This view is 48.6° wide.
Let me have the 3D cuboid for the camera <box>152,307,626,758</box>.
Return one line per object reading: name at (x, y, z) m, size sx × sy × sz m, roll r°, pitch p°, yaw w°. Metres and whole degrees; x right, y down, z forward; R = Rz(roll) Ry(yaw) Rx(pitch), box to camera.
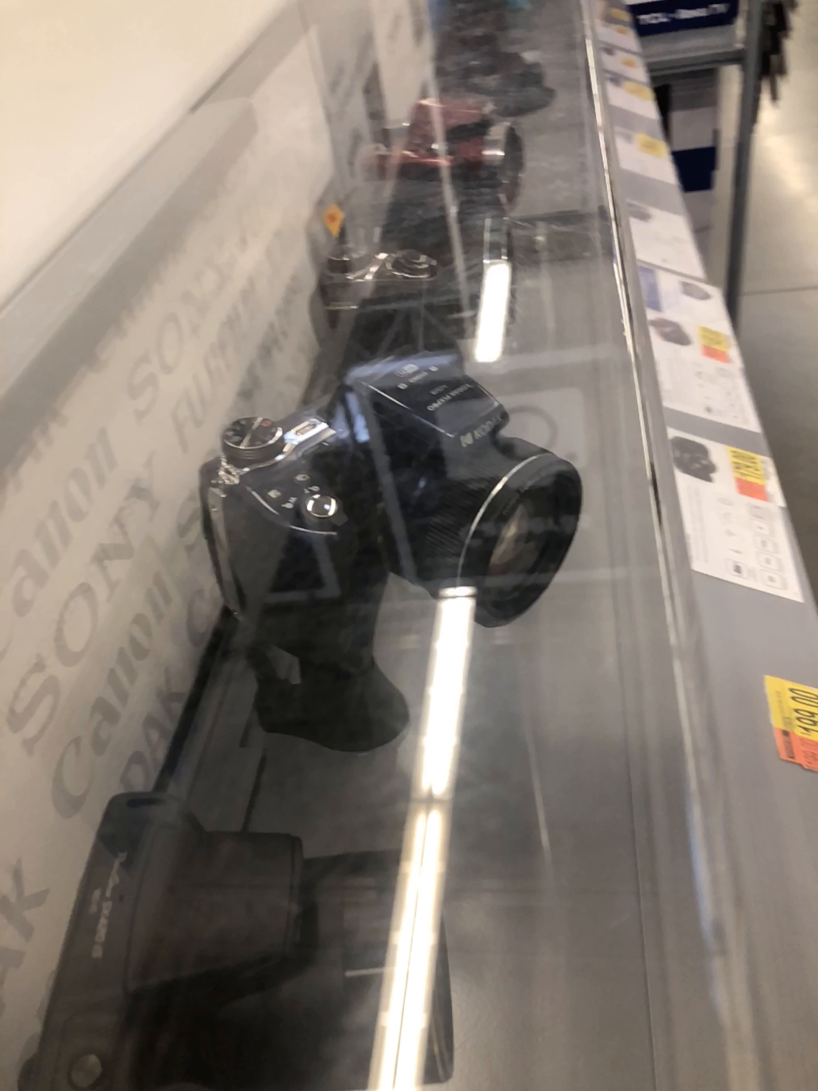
camera at (-0.002, -0.014, 0.346) m, size 0.110 × 0.080 × 0.130 m, roll 26°, pitch 52°, yaw 32°
